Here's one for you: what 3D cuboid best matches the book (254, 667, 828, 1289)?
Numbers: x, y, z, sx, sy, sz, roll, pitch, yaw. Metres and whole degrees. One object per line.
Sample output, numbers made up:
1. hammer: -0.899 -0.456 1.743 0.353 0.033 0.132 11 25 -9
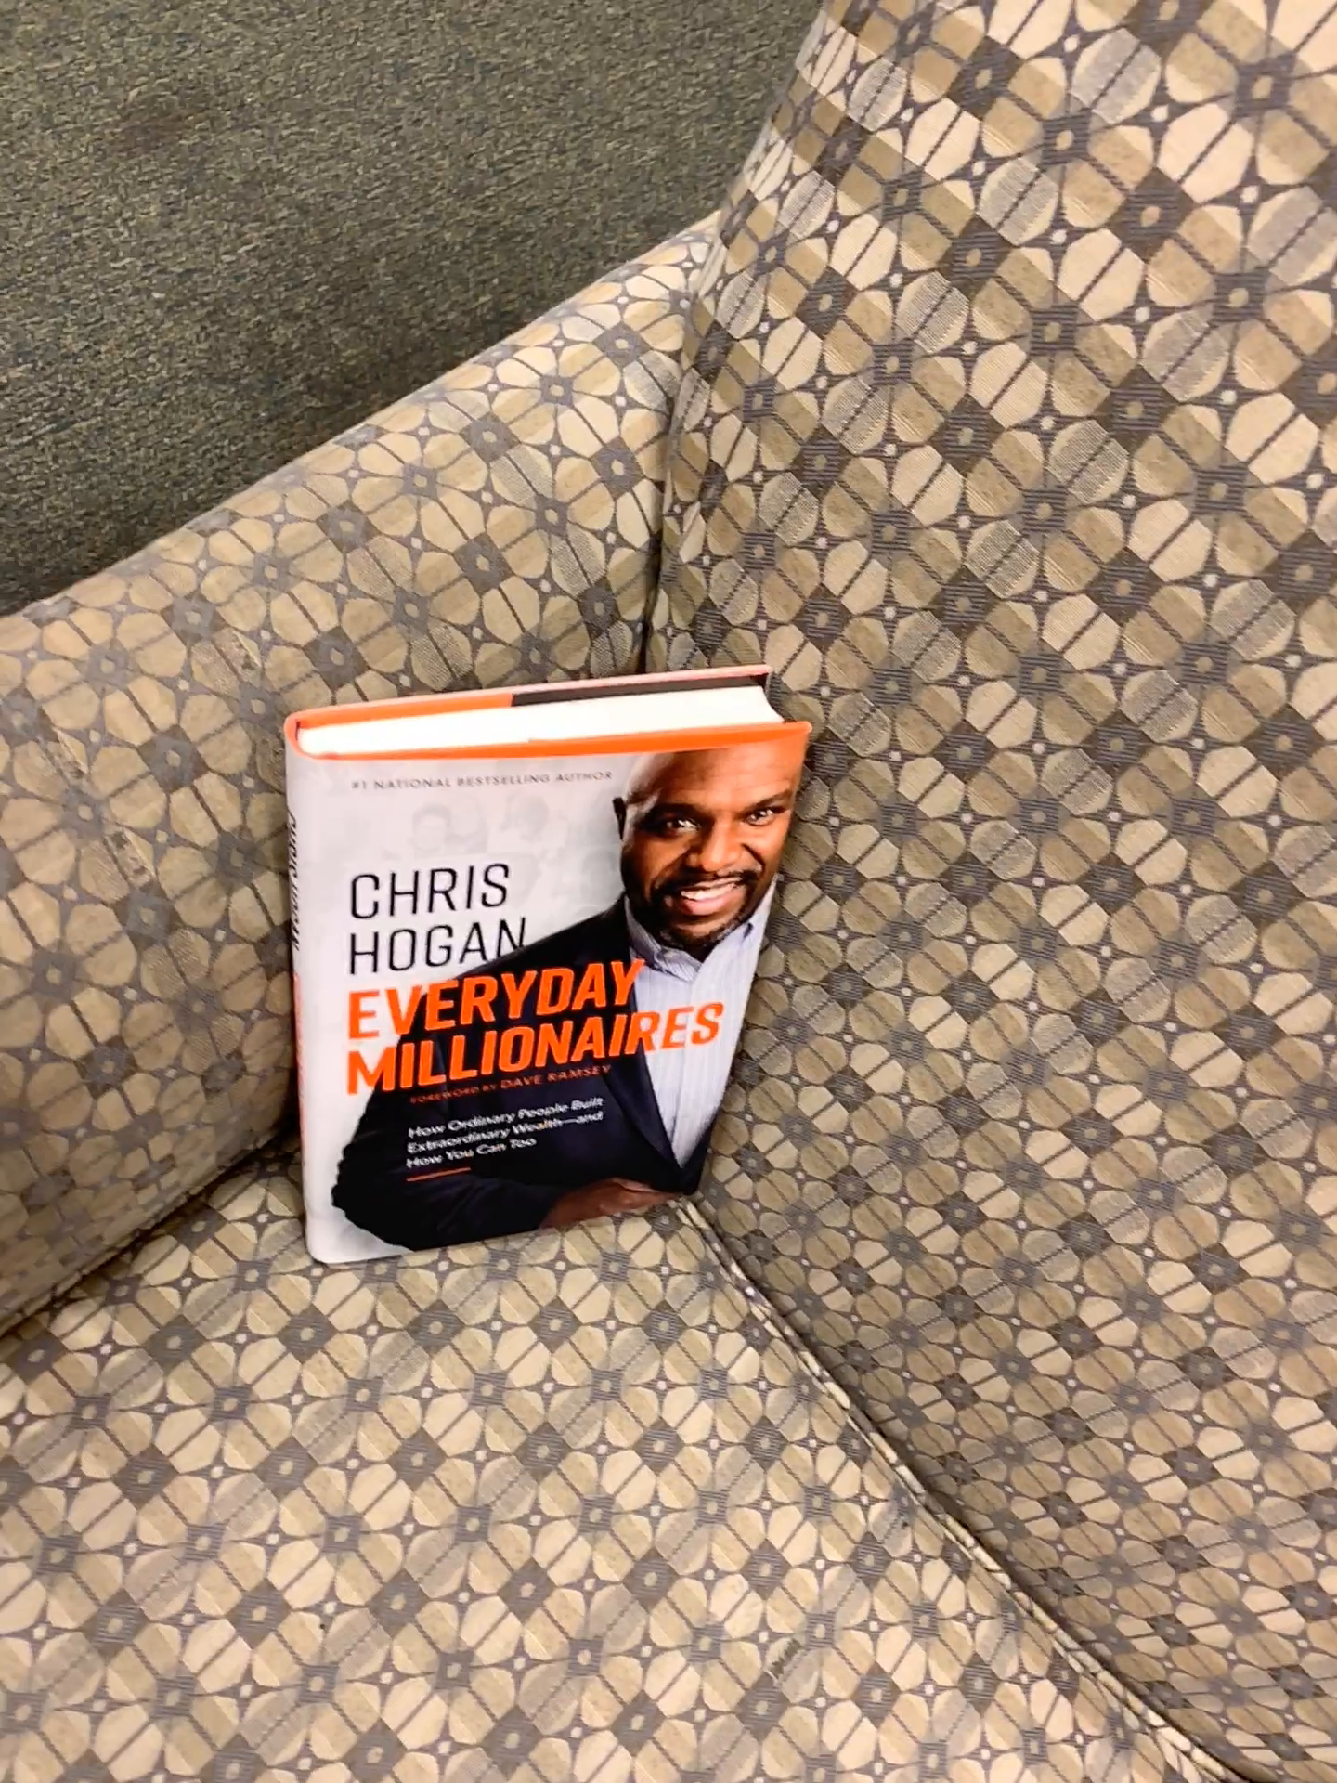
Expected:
1. book: -0.052 0.040 0.472 0.160 0.244 0.038 -5 43 -17
